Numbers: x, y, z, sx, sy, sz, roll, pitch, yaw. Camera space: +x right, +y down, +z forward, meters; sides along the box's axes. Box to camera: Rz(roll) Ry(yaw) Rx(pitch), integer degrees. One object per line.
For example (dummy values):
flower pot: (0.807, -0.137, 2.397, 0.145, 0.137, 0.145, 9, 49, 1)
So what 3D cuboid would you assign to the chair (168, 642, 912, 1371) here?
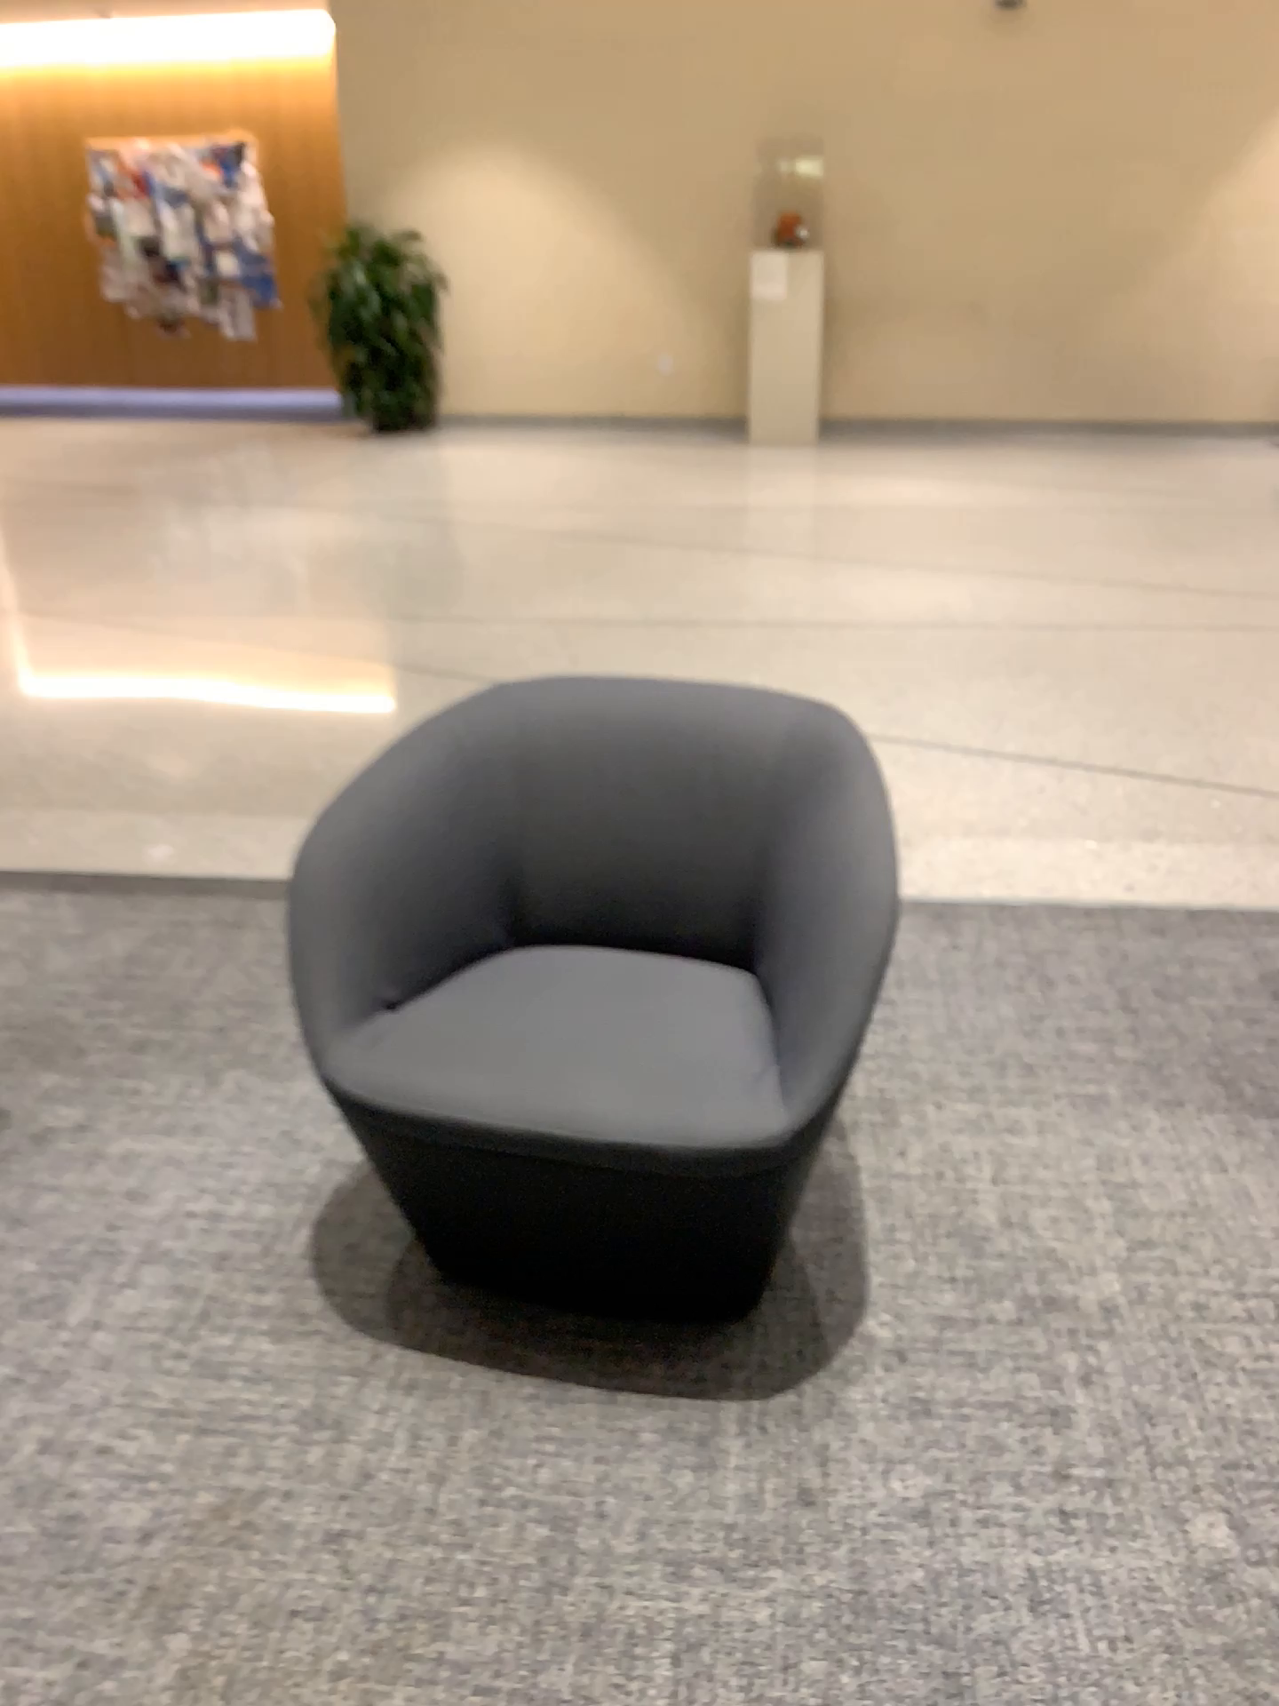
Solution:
chair: (-0.061, 0.145, 1.785, 0.778, 0.659, 0.635, 4, 25, 11)

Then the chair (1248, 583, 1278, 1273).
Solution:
chair: (1.368, 0.042, 1.932, 0.769, 0.669, 0.635, 8, 26, 19)
